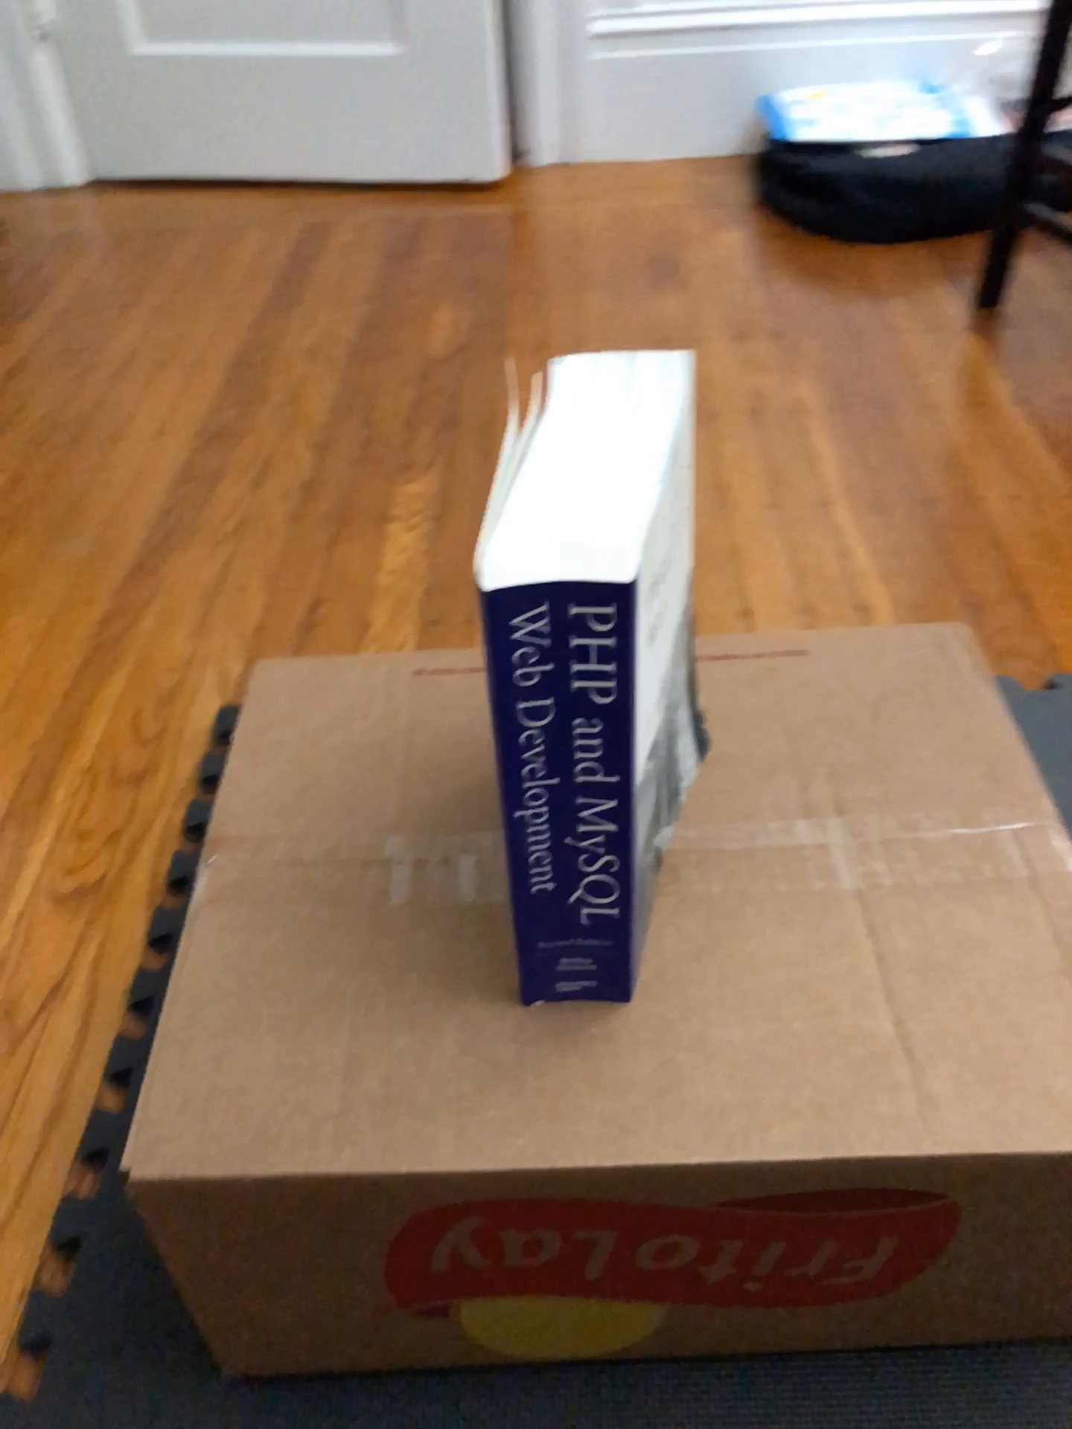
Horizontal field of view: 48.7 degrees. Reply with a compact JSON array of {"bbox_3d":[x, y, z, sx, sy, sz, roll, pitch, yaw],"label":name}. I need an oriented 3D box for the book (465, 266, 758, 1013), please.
[{"bbox_3d":[0.033,-0.032,0.524,0.090,0.258,0.201,2,40,4],"label":"book"}]
